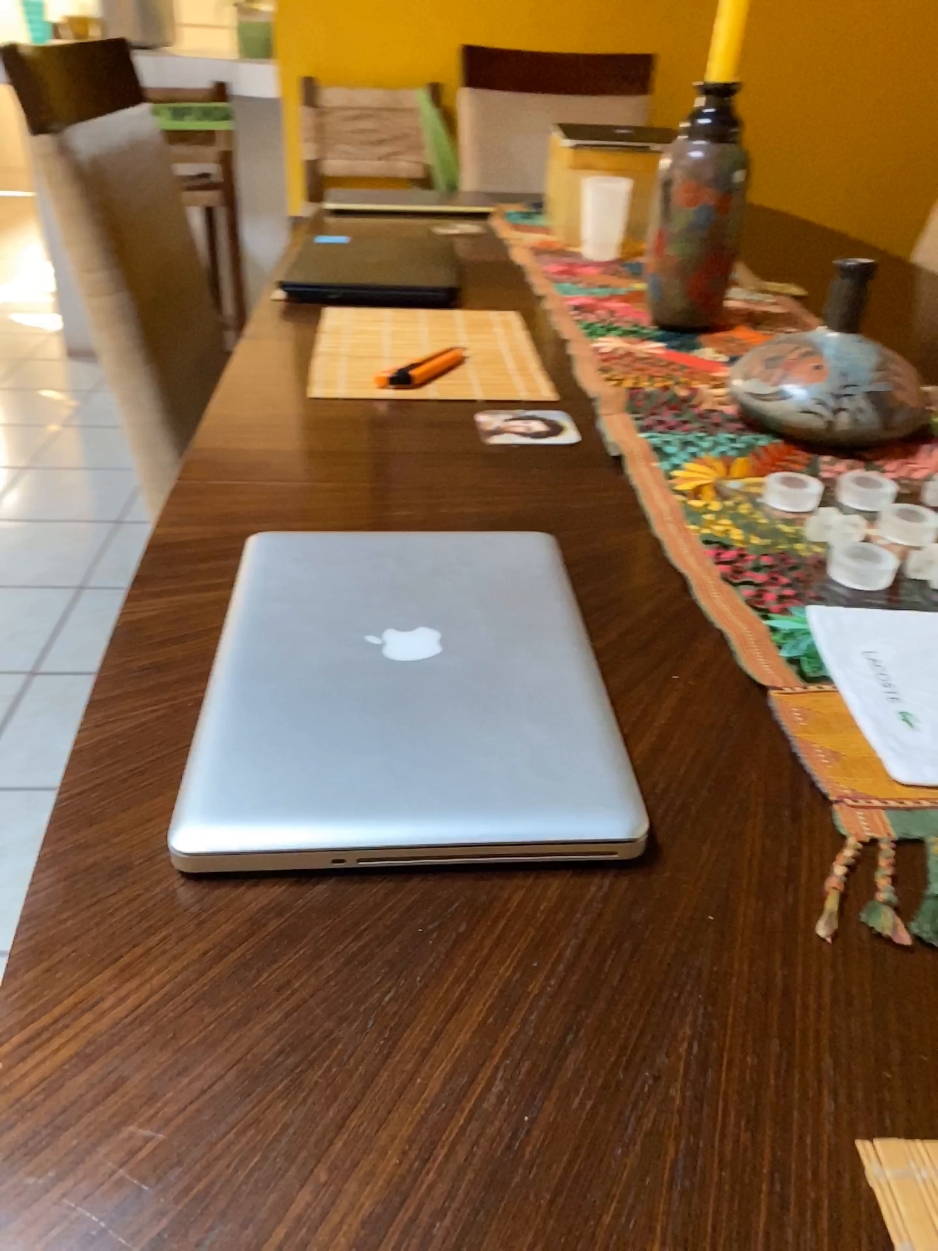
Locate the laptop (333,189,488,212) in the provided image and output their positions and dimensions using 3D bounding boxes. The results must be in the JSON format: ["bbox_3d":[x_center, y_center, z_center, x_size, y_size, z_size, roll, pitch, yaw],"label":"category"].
[{"bbox_3d":[-0.145,-0.996,2.249,0.343,0.004,0.321,-3,32,-8],"label":"laptop"}]

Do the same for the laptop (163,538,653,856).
[{"bbox_3d":[-0.039,0.020,0.594,0.232,0.002,0.325,-1,32,-5],"label":"laptop"}]

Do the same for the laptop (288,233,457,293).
[{"bbox_3d":[-0.151,-0.600,1.582,0.254,0.012,0.303,2,33,-6],"label":"laptop"}]

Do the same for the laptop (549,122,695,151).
[{"bbox_3d":[0.268,-0.891,1.750,0.214,0.011,0.310,0,33,1],"label":"laptop"}]
